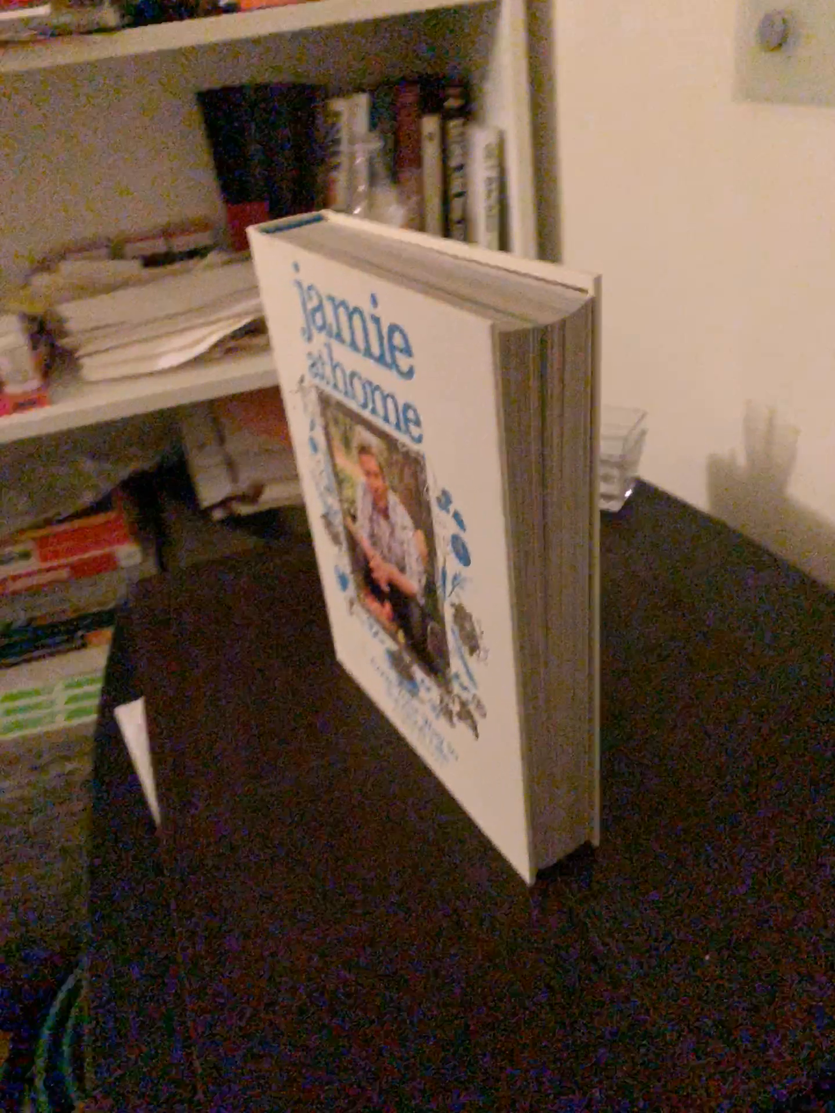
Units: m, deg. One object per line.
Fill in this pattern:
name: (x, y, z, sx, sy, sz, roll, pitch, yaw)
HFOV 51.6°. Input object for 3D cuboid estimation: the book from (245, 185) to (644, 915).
book: (0.010, -0.012, 0.392, 0.050, 0.268, 0.211, -22, 34, -21)
